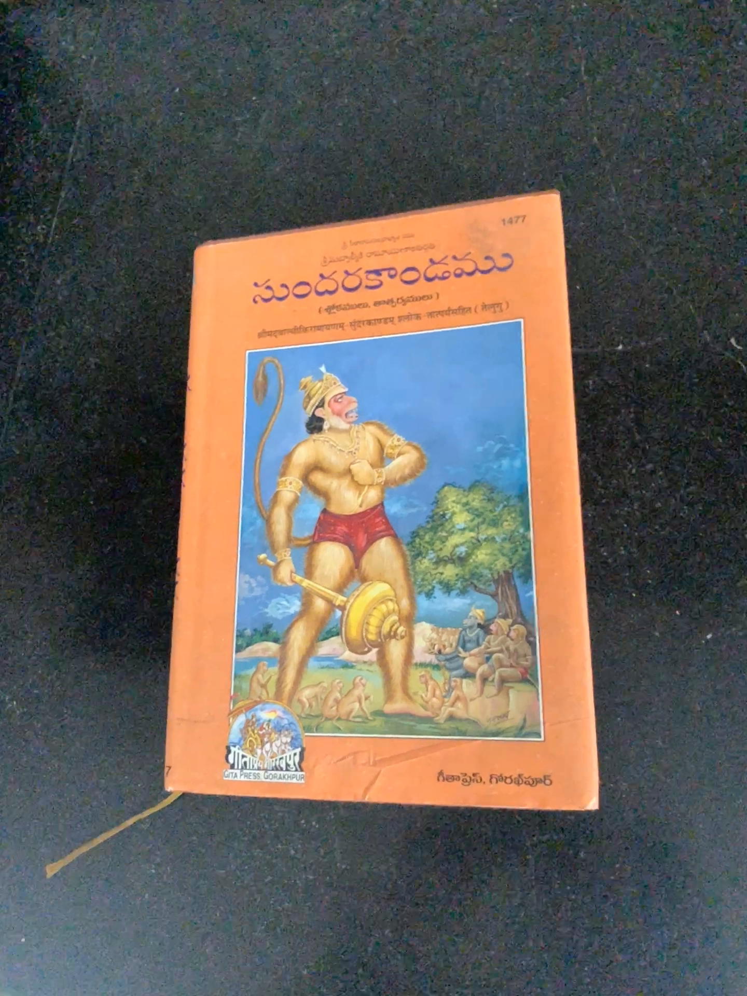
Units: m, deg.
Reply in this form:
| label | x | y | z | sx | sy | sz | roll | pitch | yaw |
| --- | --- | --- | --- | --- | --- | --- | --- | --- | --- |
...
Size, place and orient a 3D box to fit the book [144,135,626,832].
| label | x | y | z | sx | sy | sz | roll | pitch | yaw |
| --- | --- | --- | --- | --- | --- | --- | --- | --- | --- |
| book | 0.003 | -0.013 | 0.366 | 0.200 | 0.040 | 0.301 | -3 | 76 | 14 |
